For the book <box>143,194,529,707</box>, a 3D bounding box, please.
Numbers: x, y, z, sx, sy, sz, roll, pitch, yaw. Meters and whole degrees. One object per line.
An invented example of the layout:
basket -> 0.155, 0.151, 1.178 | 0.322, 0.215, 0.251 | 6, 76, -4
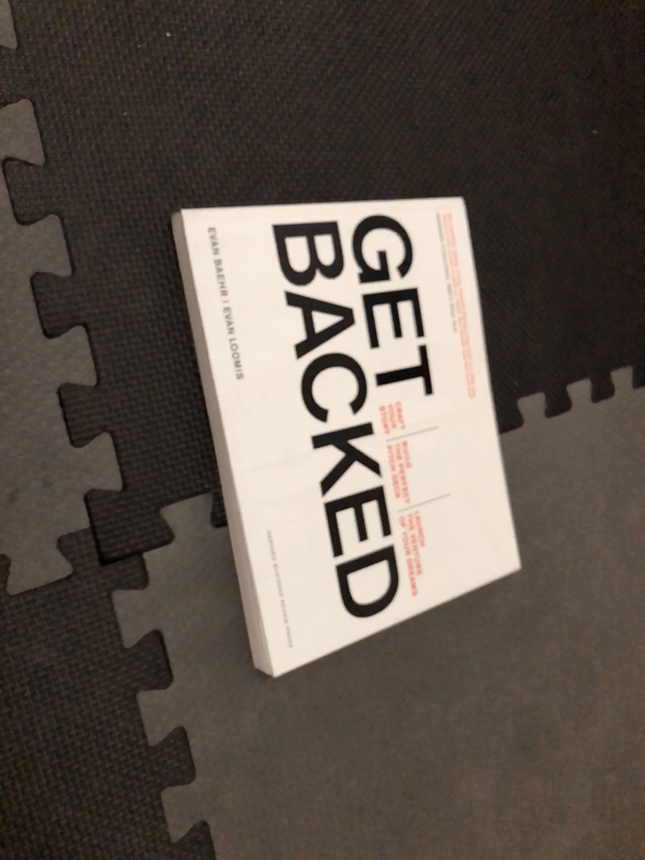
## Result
book -> 0.023, -0.003, 0.427 | 0.211, 0.020, 0.260 | -13, 96, -31
